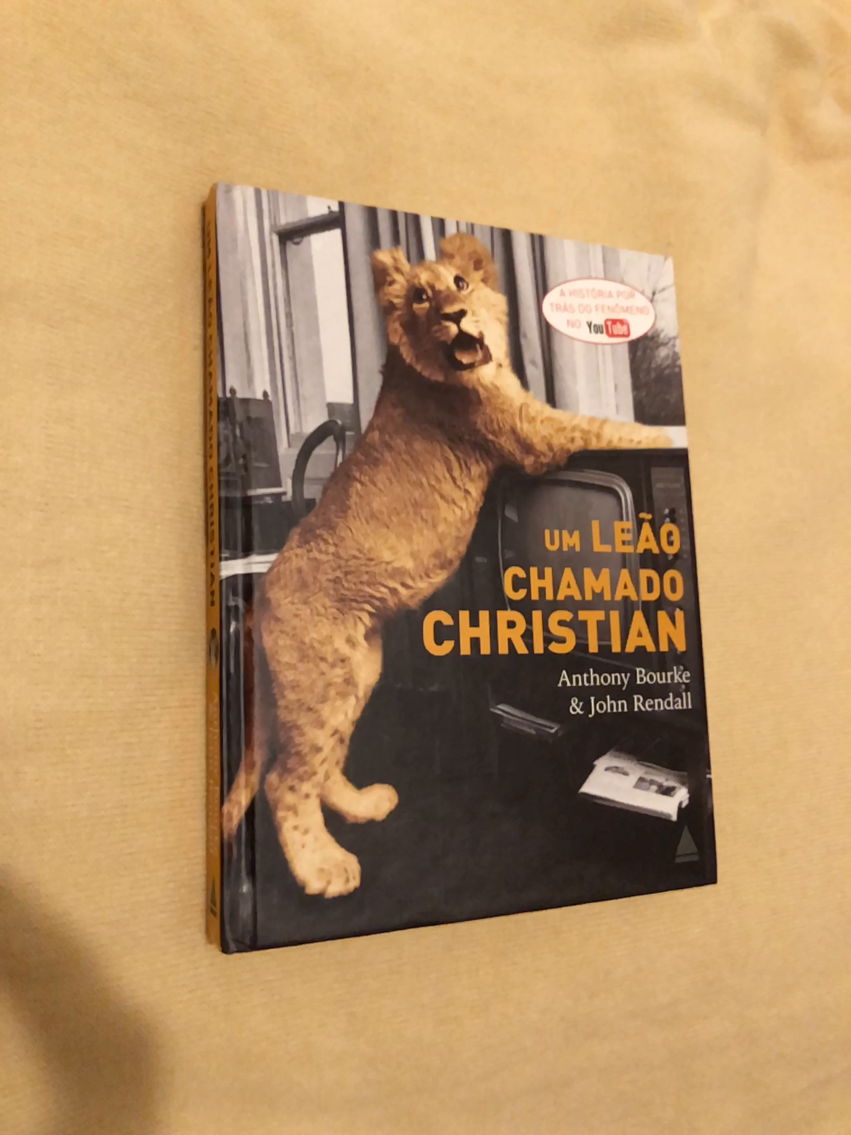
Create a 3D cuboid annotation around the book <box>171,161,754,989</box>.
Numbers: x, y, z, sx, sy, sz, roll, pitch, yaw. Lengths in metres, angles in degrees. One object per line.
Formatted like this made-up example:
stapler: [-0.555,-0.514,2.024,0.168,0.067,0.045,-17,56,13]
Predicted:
book: [0.009,-0.003,0.265,0.150,0.030,0.200,0,80,-20]
